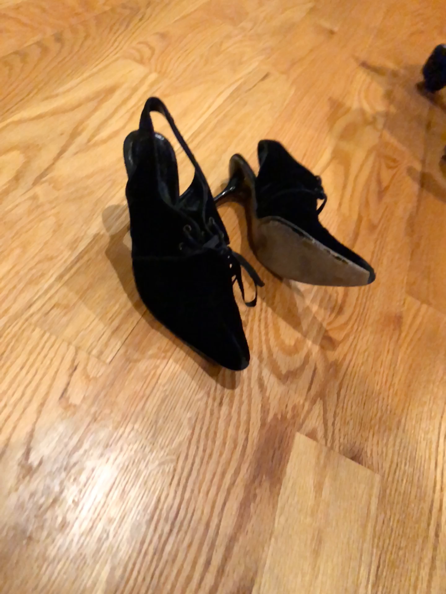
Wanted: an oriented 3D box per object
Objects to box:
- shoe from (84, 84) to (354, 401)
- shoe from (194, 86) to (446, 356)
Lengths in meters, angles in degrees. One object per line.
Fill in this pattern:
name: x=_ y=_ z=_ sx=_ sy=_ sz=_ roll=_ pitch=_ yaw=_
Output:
shoe: x=-0.024 y=-0.060 z=0.434 sx=0.108 sy=0.117 sz=0.253 roll=-11 pitch=56 yaw=-32
shoe: x=0.081 y=-0.085 z=0.490 sx=0.118 sy=0.106 sz=0.253 roll=-7 pitch=54 yaw=-28
